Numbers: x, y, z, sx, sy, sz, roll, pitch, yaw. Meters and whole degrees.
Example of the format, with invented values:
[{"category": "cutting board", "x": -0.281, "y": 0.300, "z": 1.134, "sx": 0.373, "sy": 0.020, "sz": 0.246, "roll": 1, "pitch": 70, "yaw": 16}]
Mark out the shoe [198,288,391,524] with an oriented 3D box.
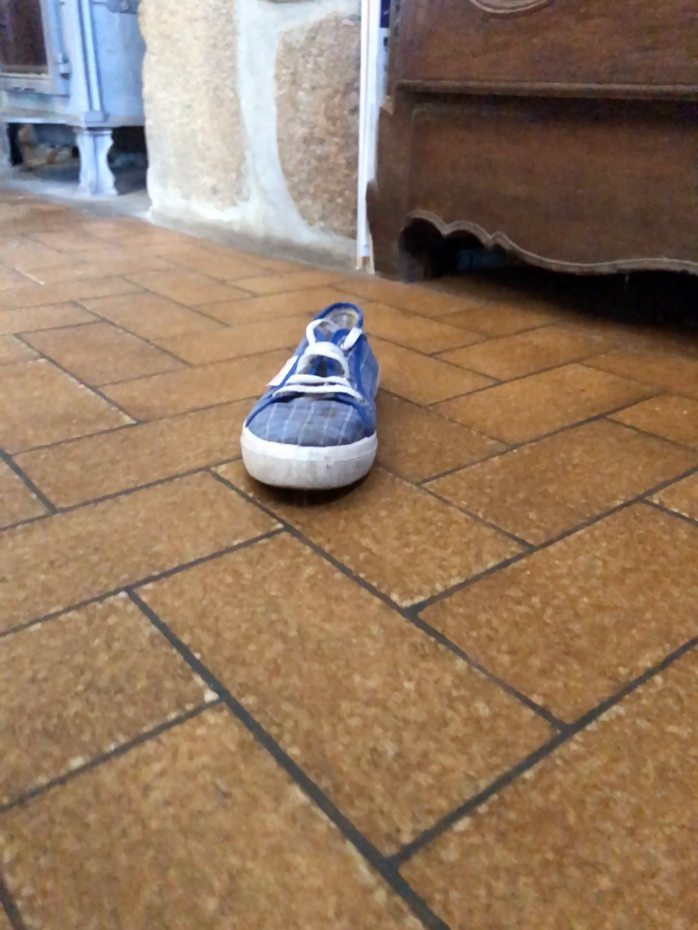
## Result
[{"category": "shoe", "x": -0.024, "y": -0.056, "z": 0.541, "sx": 0.100, "sy": 0.080, "sz": 0.241, "roll": 3, "pitch": 26, "yaw": 3}]
